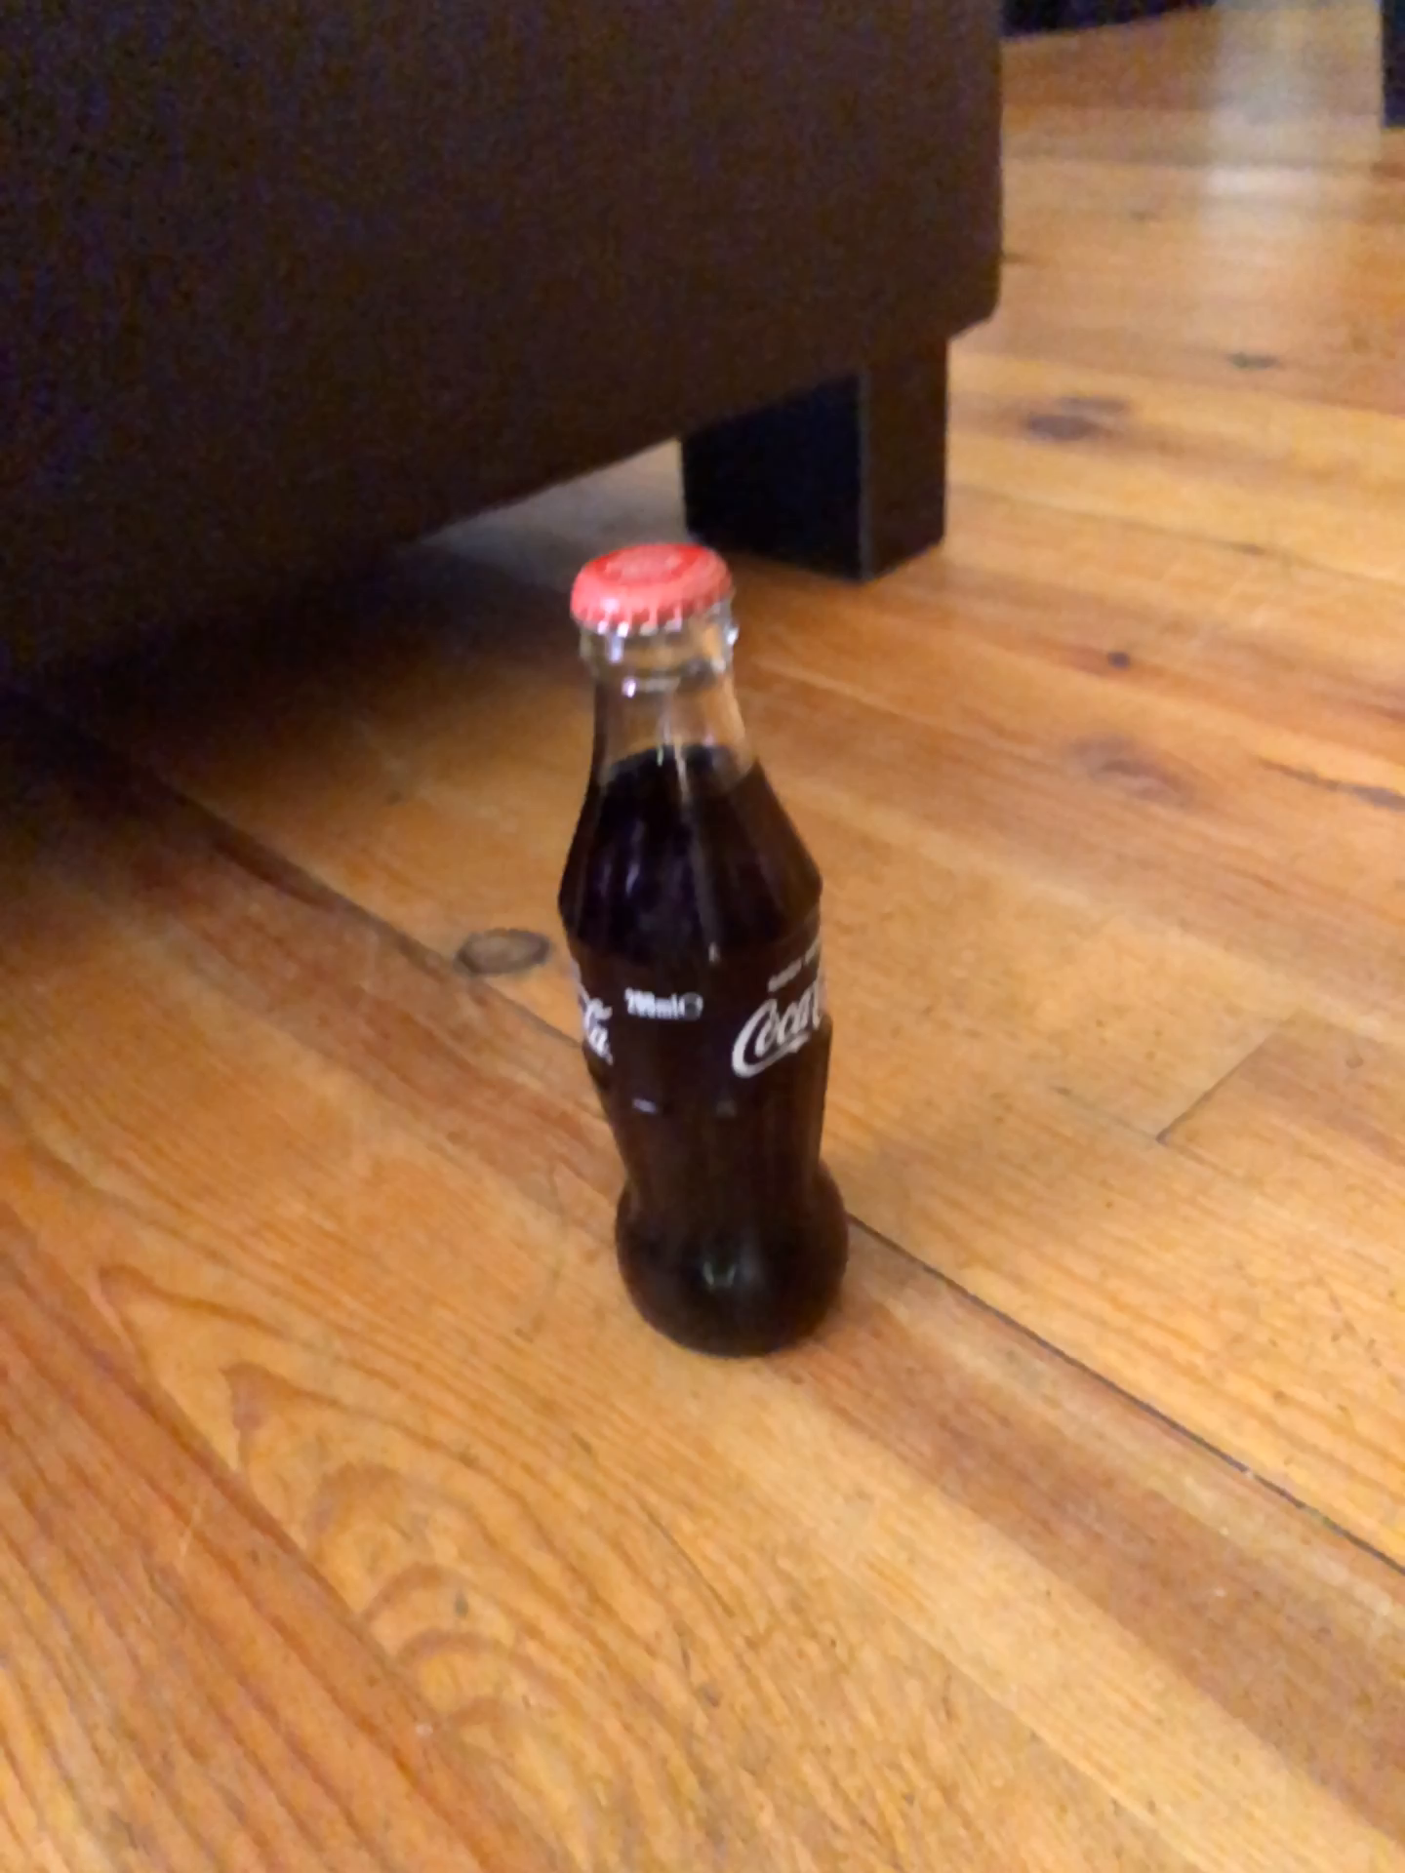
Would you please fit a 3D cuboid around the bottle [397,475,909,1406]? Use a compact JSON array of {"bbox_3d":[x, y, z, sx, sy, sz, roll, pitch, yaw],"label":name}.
[{"bbox_3d":[-0.001,0.004,0.311,0.060,0.169,0.060,-5,33,3],"label":"bottle"}]
